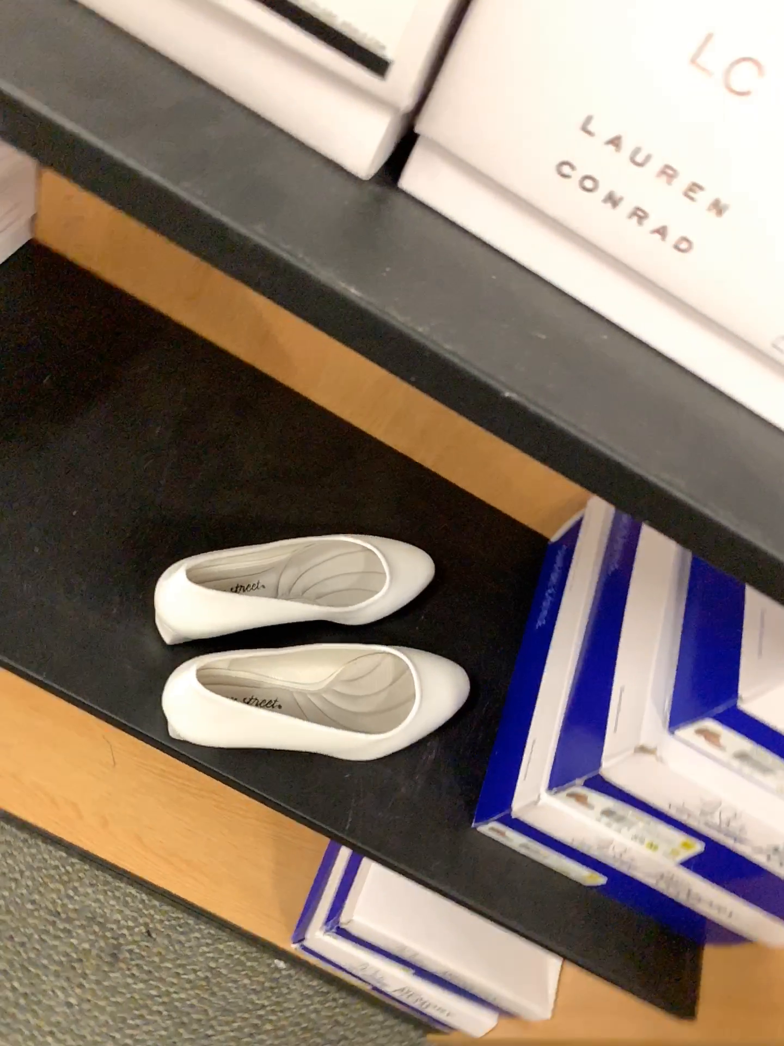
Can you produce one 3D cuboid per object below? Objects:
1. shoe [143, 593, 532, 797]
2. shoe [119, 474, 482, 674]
[{"bbox_3d":[-0.042,0.122,0.587,0.251,0.110,0.090,-2,63,-25],"label":"shoe"},{"bbox_3d":[-0.070,0.035,0.623,0.251,0.100,0.080,-9,66,-29],"label":"shoe"}]
